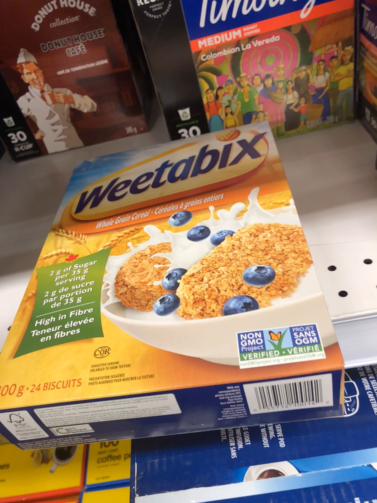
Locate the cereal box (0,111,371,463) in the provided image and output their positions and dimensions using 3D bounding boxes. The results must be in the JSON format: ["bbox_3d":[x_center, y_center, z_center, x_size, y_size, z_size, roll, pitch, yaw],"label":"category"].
[{"bbox_3d":[-0.017,-0.006,0.324,0.210,0.050,0.291,-10,39,9],"label":"cereal box"}]
